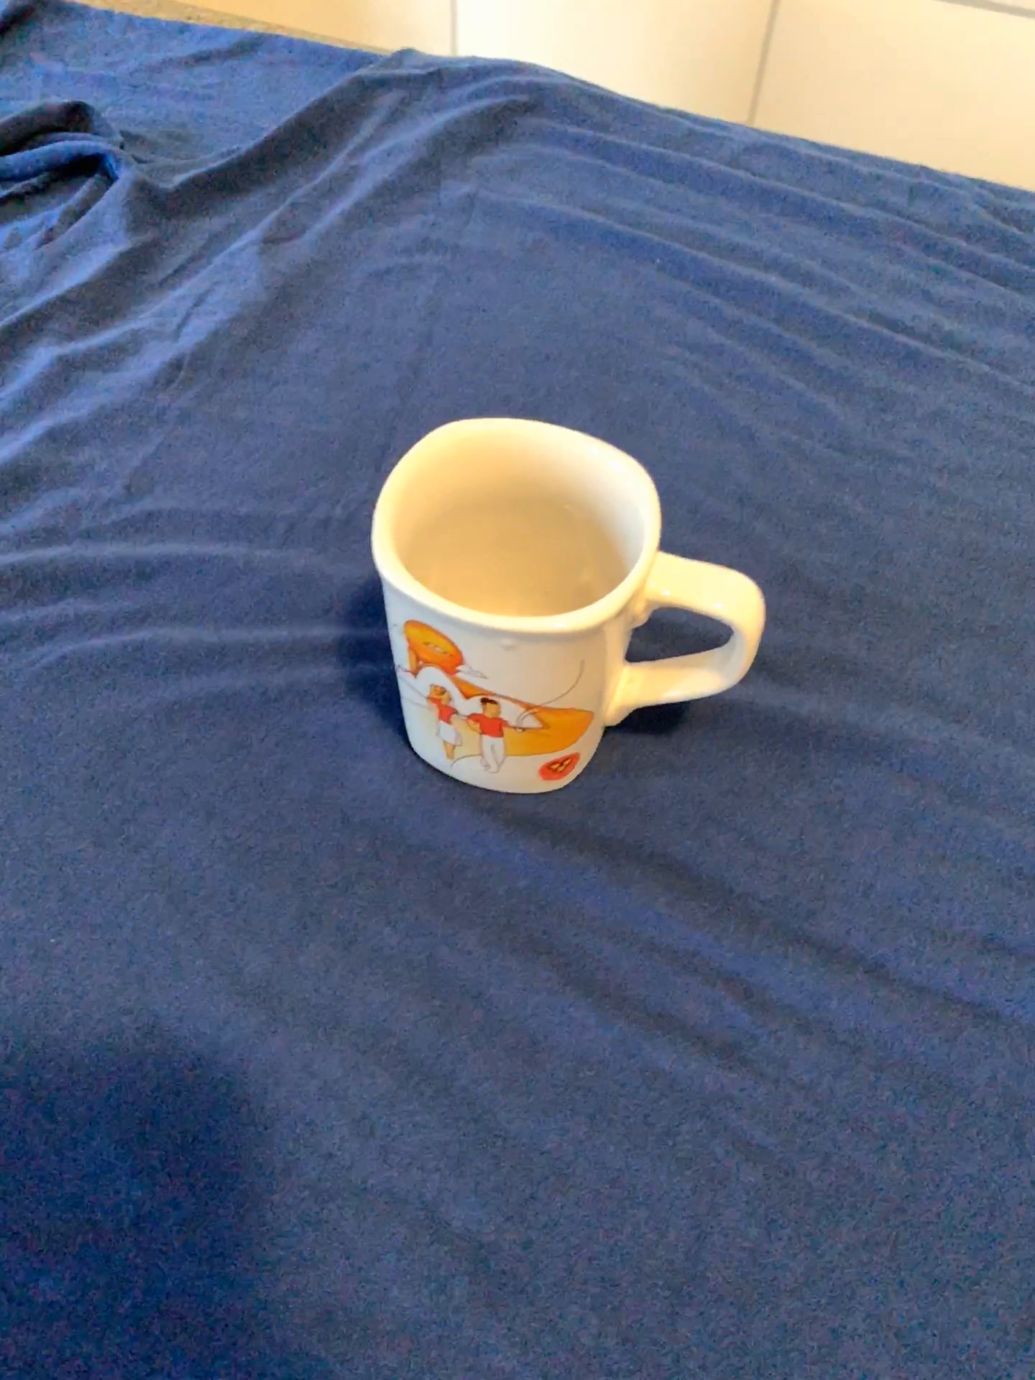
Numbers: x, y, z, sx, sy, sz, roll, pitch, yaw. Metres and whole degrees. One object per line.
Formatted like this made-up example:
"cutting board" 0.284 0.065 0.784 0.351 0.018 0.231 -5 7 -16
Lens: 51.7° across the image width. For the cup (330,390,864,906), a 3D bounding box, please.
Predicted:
"cup" 0.020 -0.010 0.284 0.110 0.090 0.070 16 53 9
